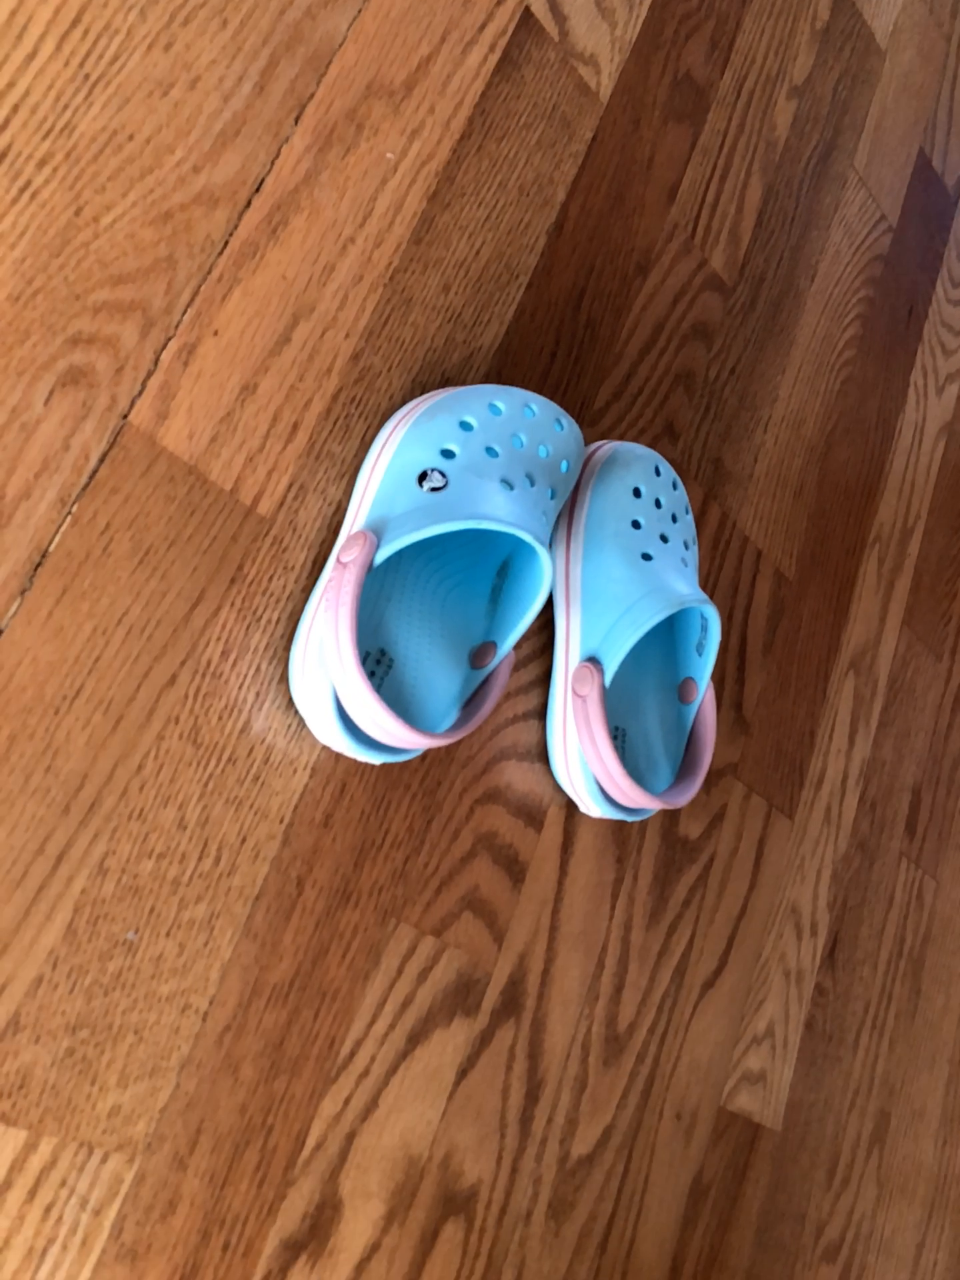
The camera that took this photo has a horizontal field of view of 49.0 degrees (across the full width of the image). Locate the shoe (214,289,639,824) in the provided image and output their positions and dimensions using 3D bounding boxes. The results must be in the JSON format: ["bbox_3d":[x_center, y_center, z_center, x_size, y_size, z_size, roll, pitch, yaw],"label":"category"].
[{"bbox_3d":[-0.013,-0.029,0.381,0.083,0.057,0.165,37,64,-33],"label":"shoe"}]

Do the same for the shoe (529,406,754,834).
[{"bbox_3d":[0.071,-0.004,0.447,0.083,0.048,0.165,8,82,-41],"label":"shoe"}]
